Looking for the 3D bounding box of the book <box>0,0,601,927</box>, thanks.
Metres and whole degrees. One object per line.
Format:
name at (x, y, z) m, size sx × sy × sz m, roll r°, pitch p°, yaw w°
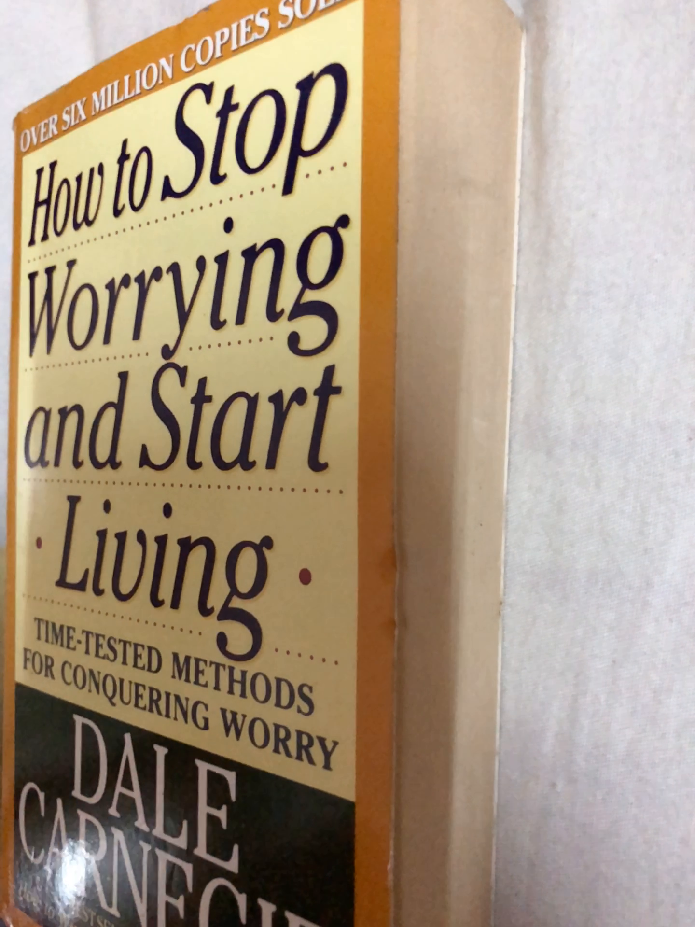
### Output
book at (-0.018, 0.008, 0.146) m, size 0.110 × 0.050 × 0.170 m, roll 1°, pitch 89°, yaw 36°
